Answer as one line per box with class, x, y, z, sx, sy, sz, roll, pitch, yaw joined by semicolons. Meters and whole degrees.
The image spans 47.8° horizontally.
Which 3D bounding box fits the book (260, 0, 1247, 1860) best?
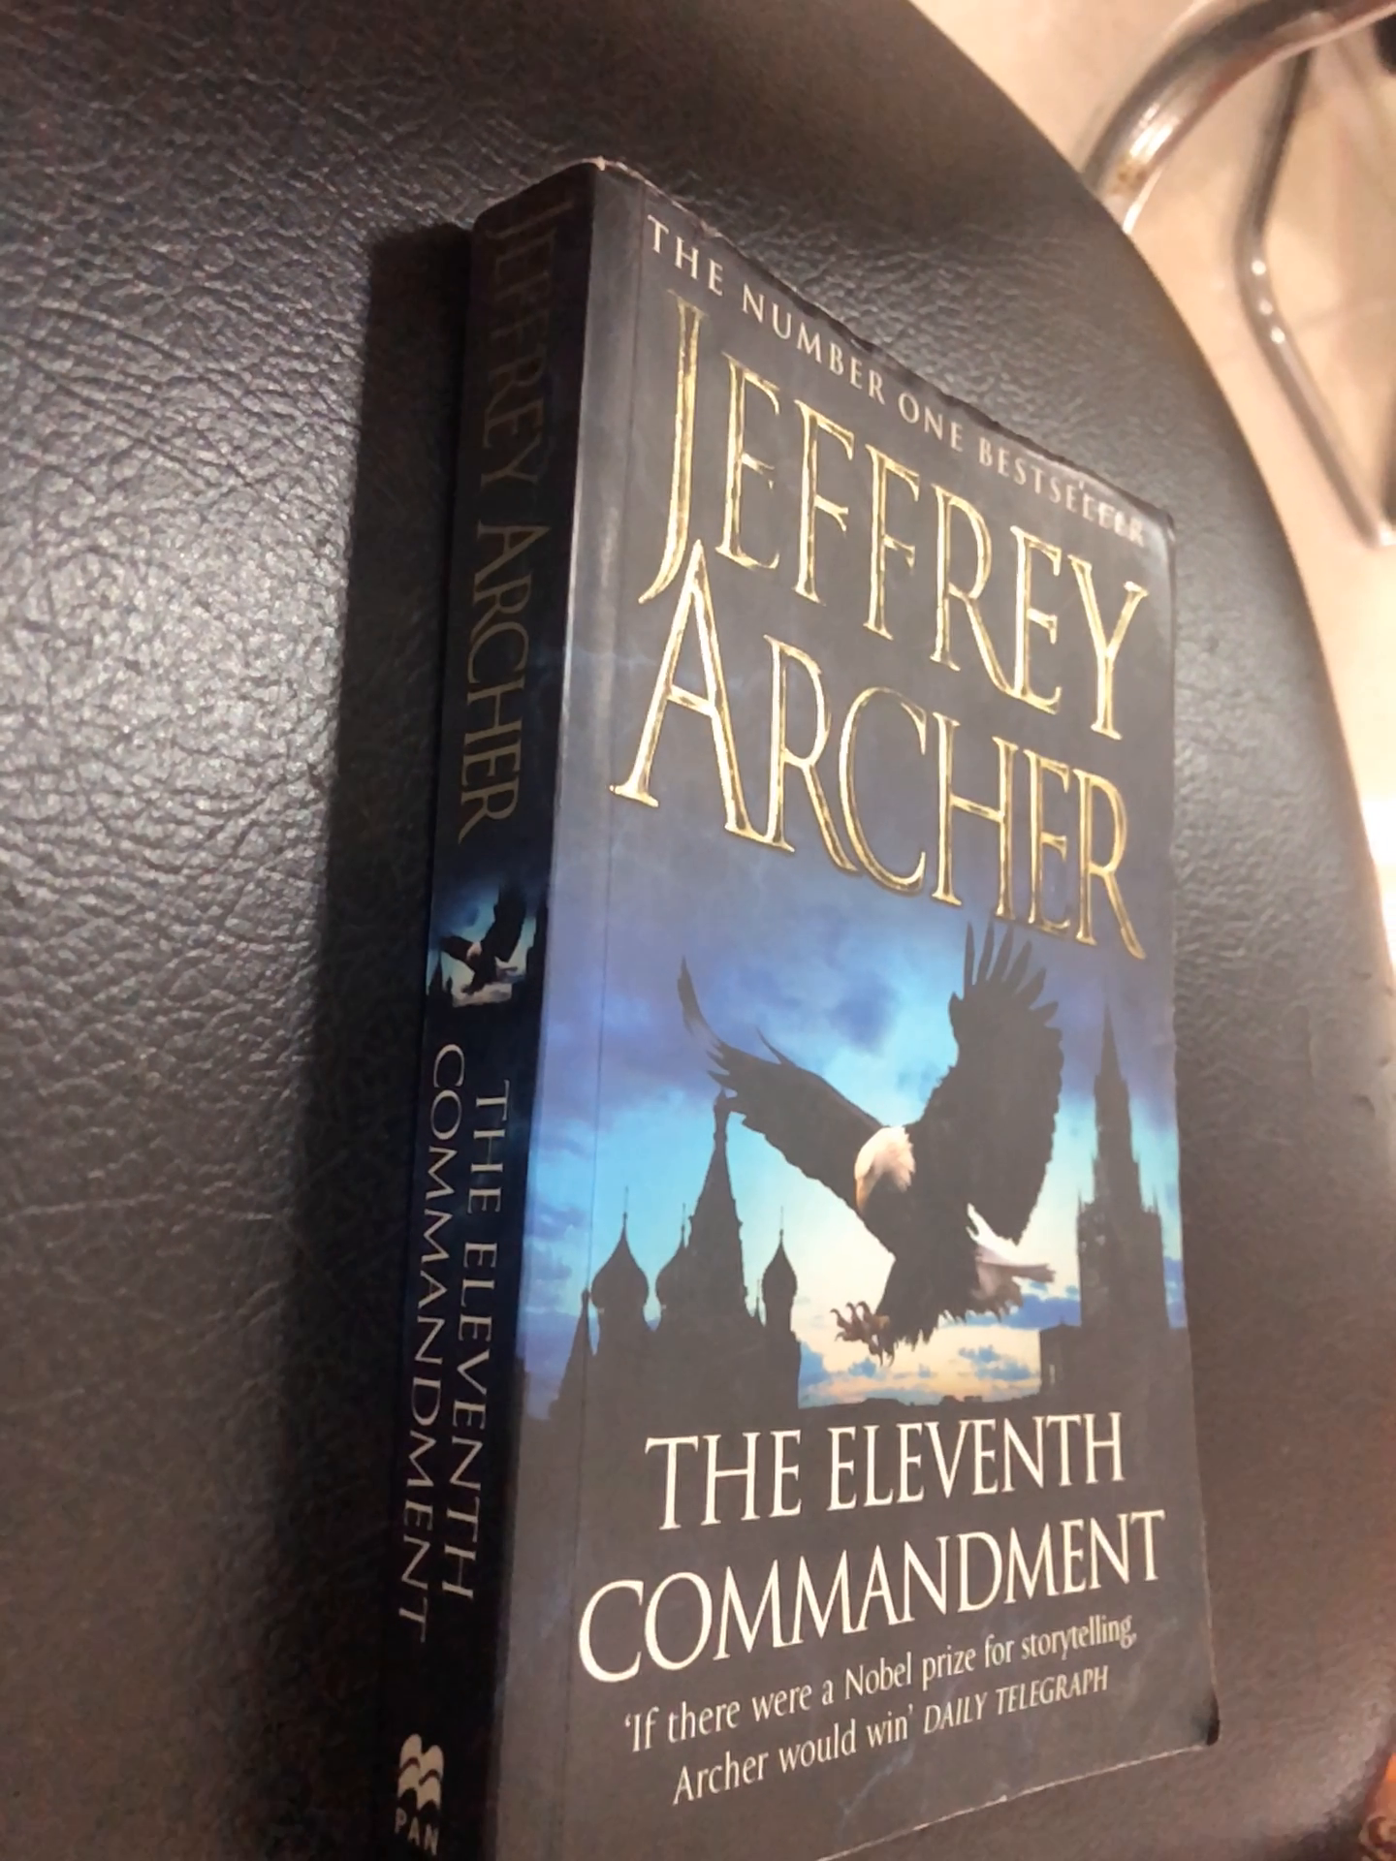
book;0.023;0.004;0.206;0.131;0.040;0.200;15;73;-45
